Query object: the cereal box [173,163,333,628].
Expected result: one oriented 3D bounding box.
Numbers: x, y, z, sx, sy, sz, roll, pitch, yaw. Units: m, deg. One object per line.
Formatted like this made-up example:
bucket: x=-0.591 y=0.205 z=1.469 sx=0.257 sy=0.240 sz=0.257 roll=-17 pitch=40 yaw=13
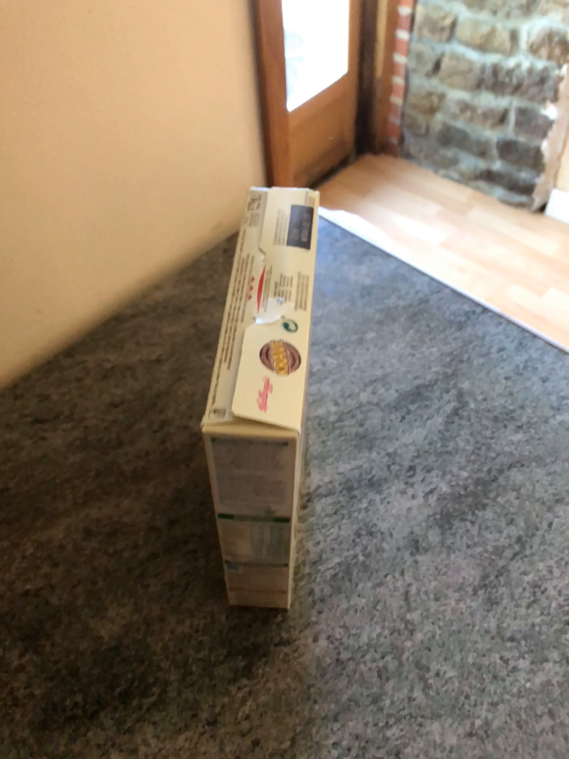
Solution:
cereal box: x=-0.015 y=0.021 z=0.442 sx=0.070 sy=0.249 sz=0.211 roll=4 pitch=50 yaw=0
